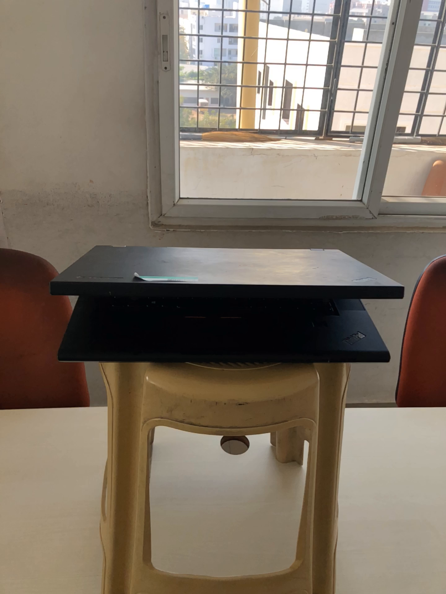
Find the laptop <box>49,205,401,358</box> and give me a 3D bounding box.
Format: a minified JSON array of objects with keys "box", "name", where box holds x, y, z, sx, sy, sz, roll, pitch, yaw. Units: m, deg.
[{"box":[0.002,-0.032,0.617,0.362,0.074,0.236,0,33,-4],"name":"laptop"}]
